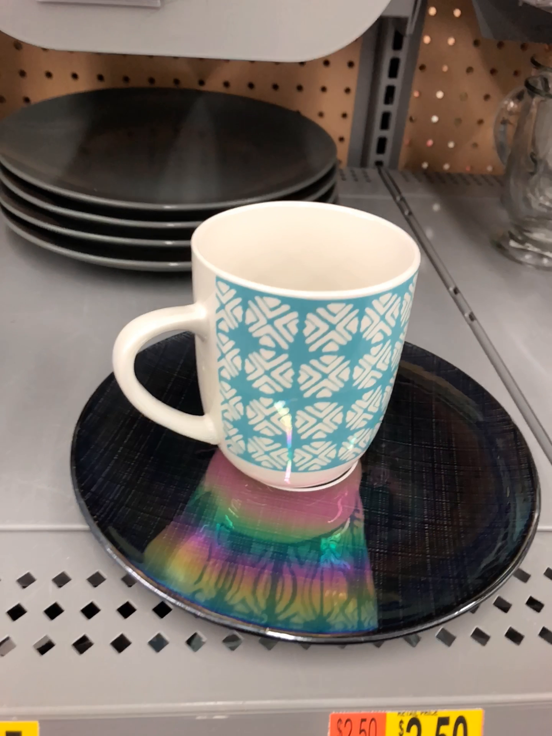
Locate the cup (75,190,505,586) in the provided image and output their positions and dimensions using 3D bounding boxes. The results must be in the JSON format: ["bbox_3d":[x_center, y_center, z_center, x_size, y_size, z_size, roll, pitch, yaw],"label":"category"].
[{"bbox_3d":[-0.001,-0.001,0.242,0.122,0.098,0.089,-13,39,-23],"label":"cup"}]
